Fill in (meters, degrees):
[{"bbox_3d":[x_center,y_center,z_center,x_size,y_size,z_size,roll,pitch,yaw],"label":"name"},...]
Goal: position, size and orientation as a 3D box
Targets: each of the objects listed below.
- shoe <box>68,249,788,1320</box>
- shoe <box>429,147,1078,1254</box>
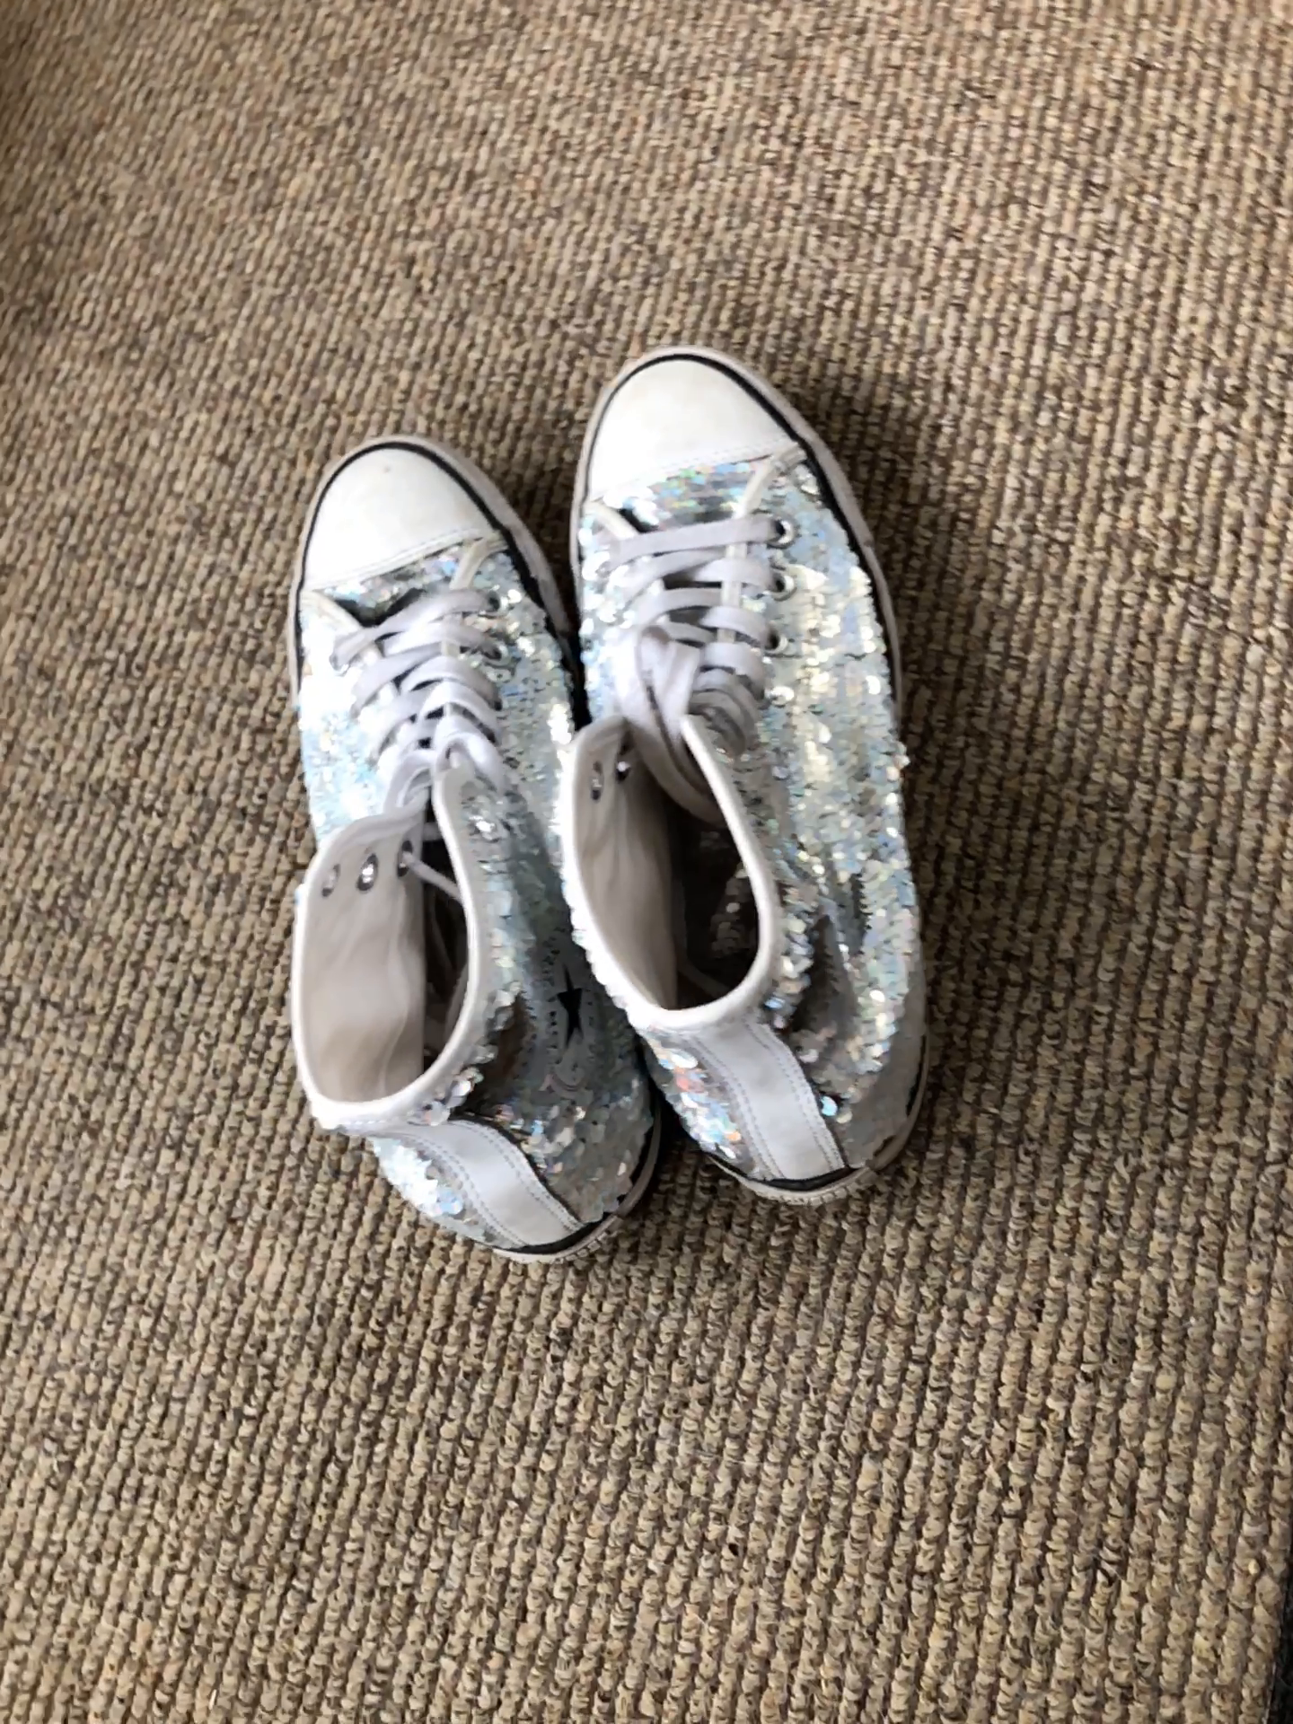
[{"bbox_3d":[-0.063,-0.016,0.425,0.111,0.138,0.264,-21,68,5],"label":"shoe"},{"bbox_3d":[0.026,-0.038,0.405,0.111,0.128,0.264,-13,69,8],"label":"shoe"}]
